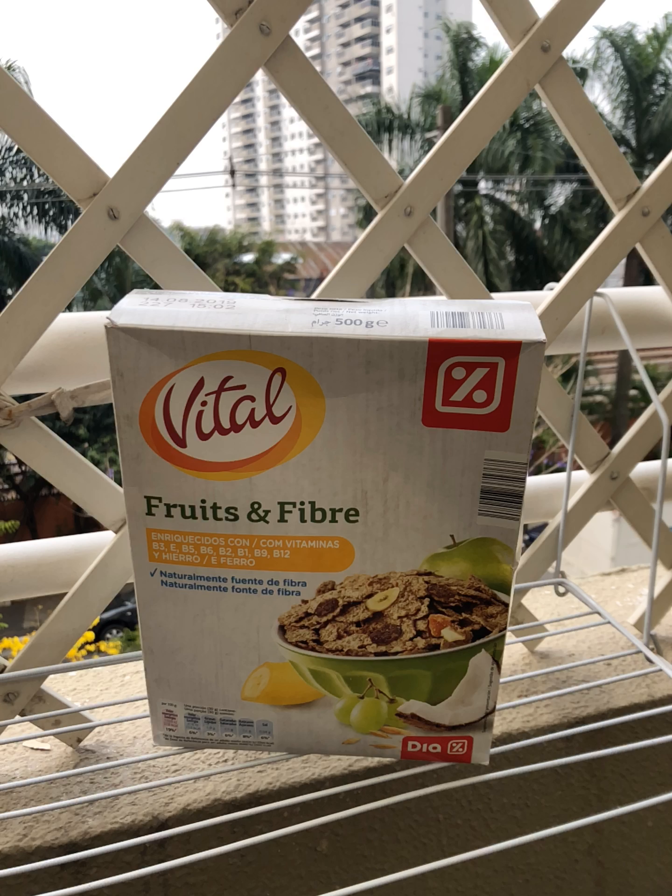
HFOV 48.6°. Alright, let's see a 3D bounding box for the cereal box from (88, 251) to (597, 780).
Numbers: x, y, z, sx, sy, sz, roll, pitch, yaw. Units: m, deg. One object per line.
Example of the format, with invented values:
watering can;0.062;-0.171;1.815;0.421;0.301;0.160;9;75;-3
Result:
cereal box;0.002;0.041;0.394;0.210;0.268;0.071;2;25;5
